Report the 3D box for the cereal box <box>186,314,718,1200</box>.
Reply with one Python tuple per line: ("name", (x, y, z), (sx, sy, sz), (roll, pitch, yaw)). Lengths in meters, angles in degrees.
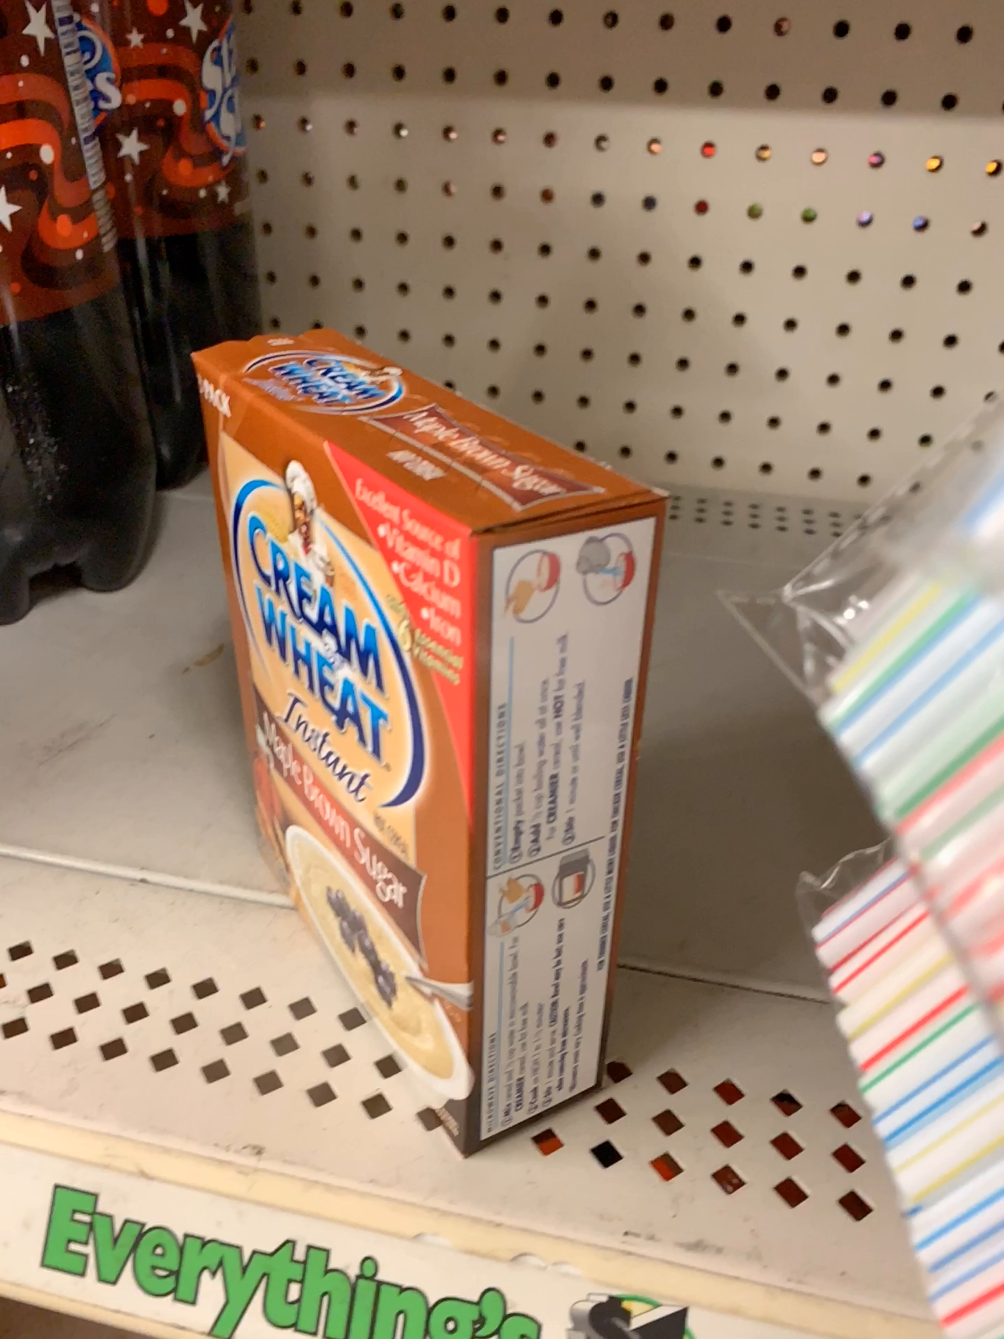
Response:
("cereal box", (-0.019, 0.014, 0.230), (0.040, 0.149, 0.120), (-18, 37, -29))
